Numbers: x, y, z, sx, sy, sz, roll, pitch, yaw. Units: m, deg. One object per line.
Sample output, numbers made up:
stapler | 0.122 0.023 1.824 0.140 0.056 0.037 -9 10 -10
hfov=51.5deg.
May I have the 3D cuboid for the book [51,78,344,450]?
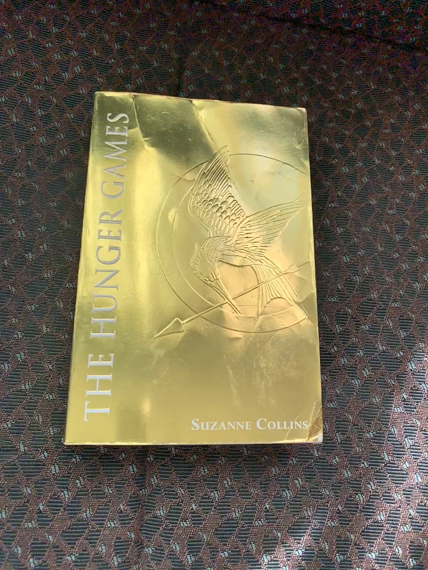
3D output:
book | -0.007 -0.014 0.257 0.142 0.037 0.200 2 75 -9
